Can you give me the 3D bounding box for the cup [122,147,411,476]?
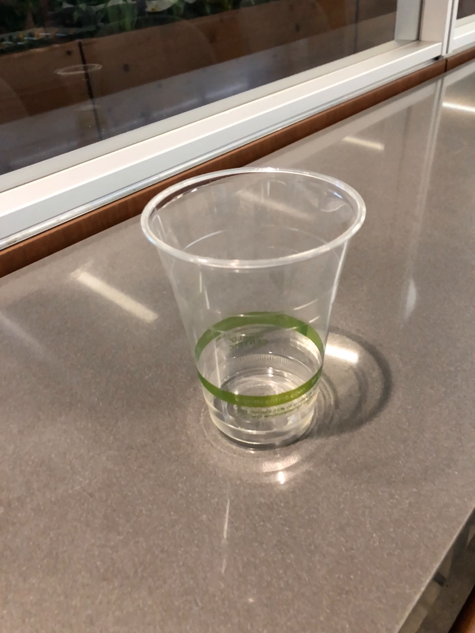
[{"bbox_3d":[0.009,-0.008,0.265,0.100,0.109,0.101,-4,35,3],"label":"cup"}]
